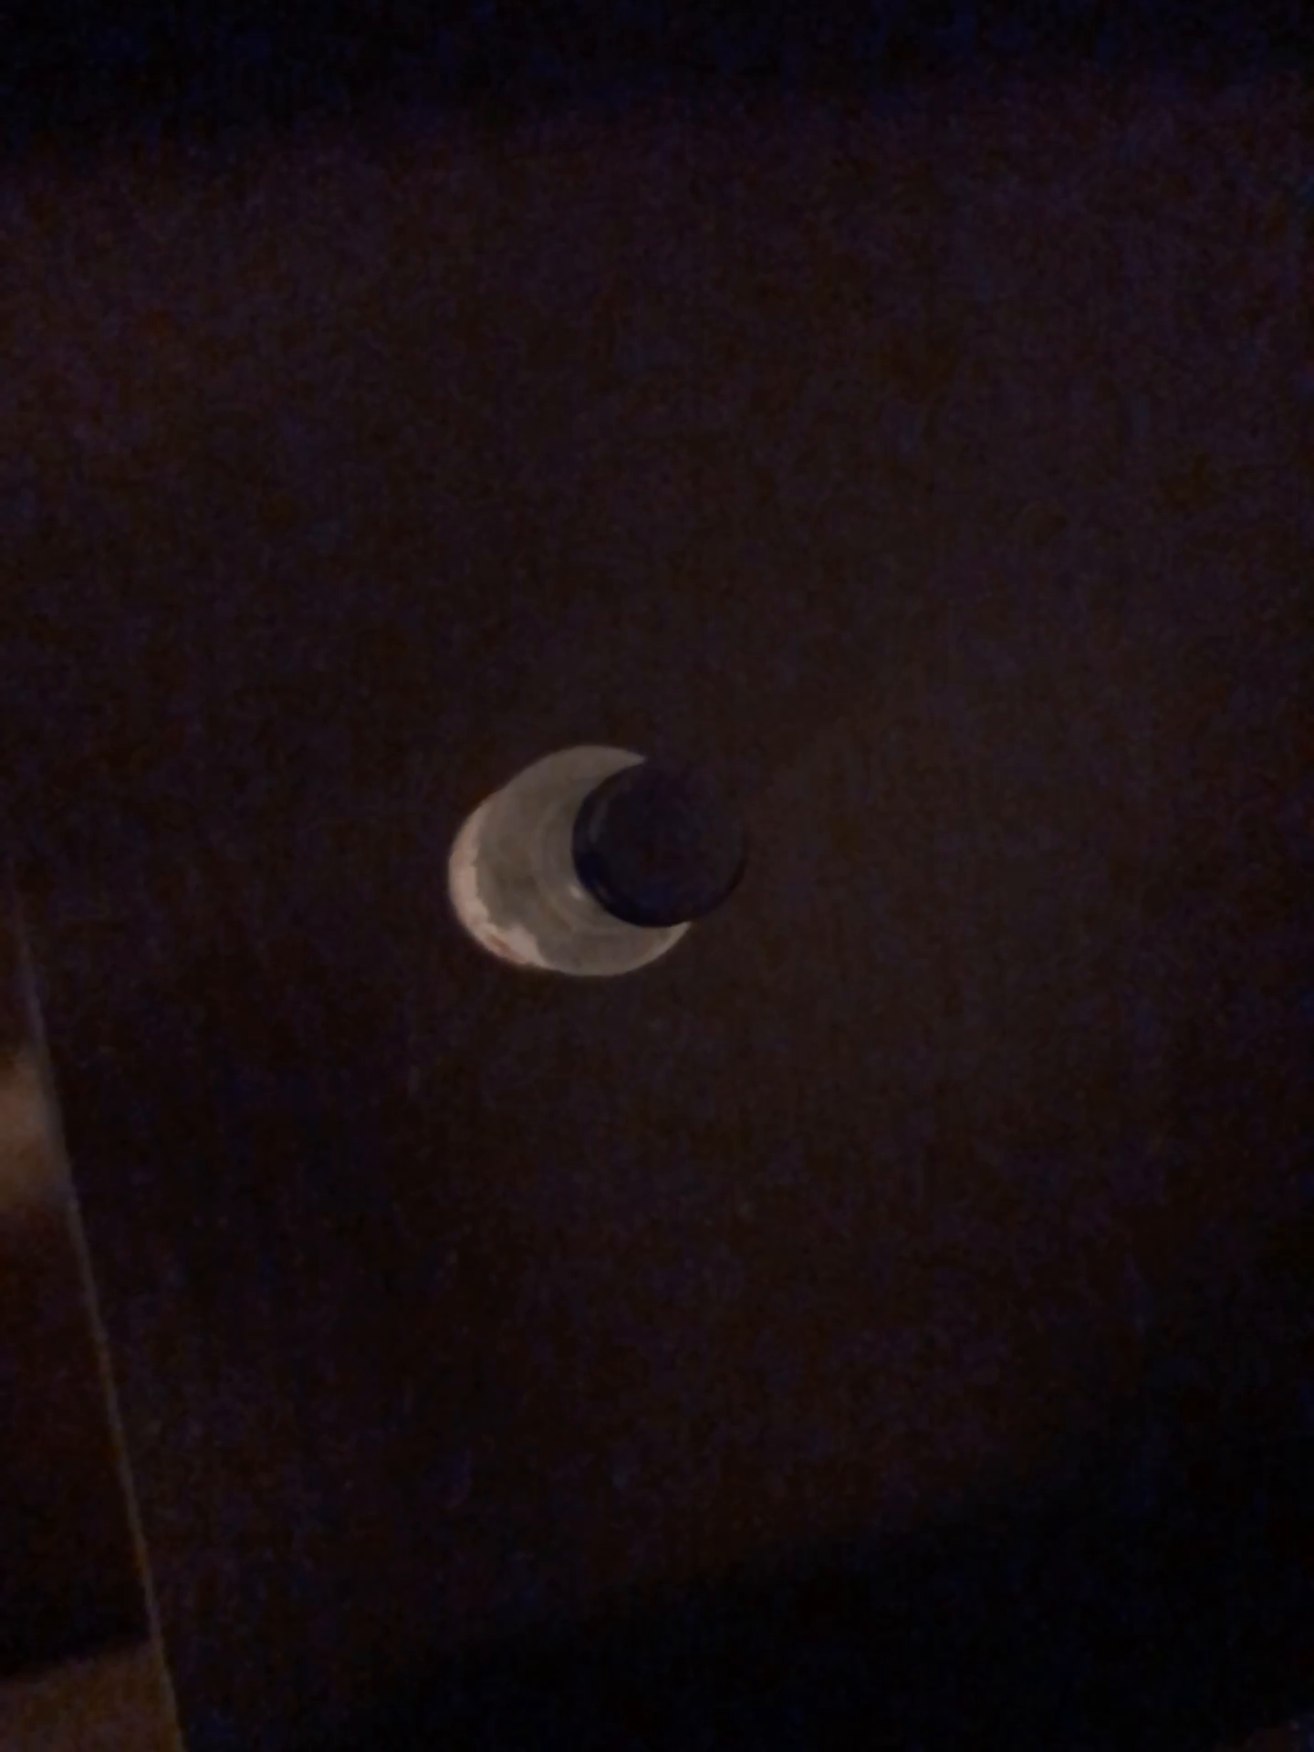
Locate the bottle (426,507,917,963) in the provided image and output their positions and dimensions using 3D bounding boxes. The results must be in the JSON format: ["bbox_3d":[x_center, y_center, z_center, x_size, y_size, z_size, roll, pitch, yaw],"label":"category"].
[{"bbox_3d":[-0.006,-0.012,0.205,0.036,0.104,0.040,-14,89,-13],"label":"bottle"}]
